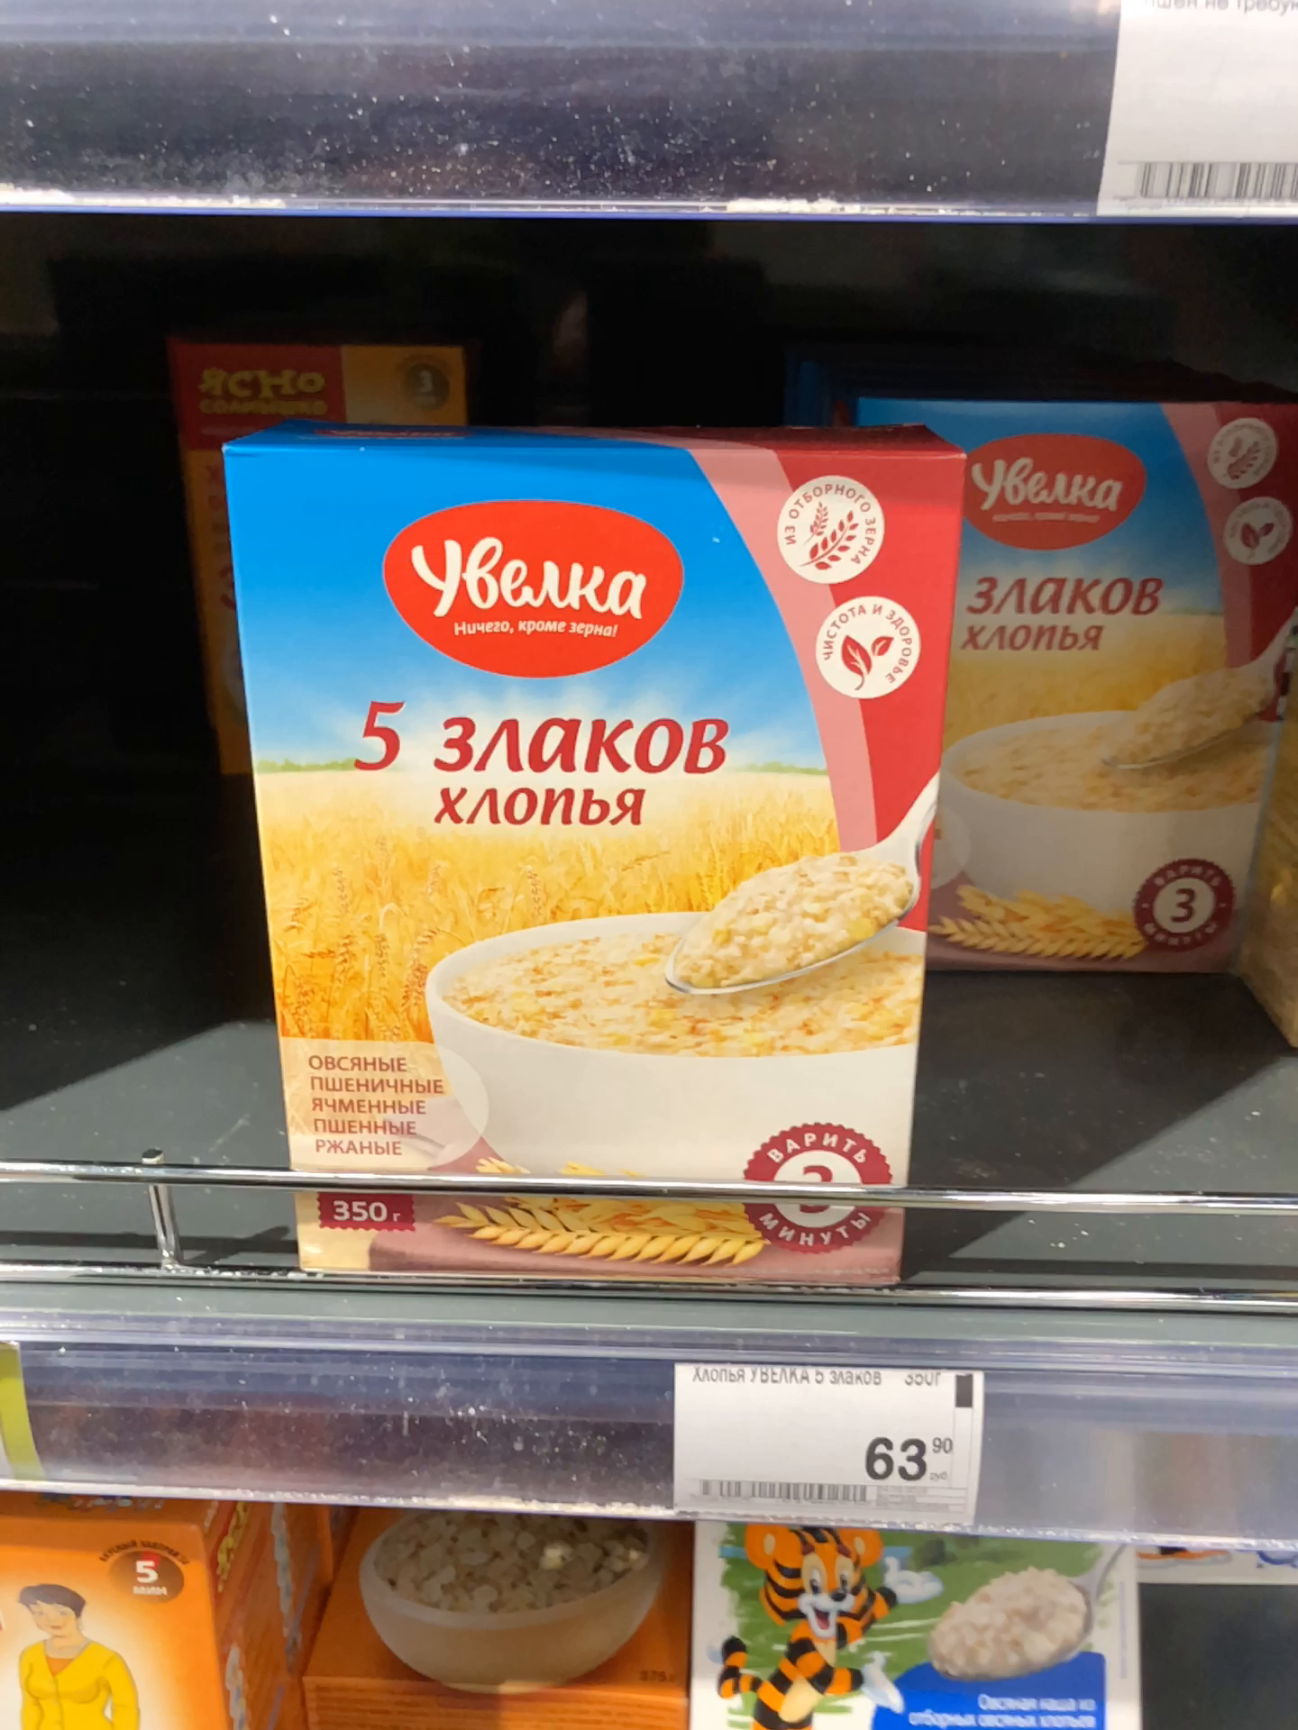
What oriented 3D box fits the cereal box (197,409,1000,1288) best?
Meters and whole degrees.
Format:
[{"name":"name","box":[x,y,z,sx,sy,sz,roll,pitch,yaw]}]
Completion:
[{"name":"cereal box","box":[-0.011,-0.001,0.325,0.150,0.189,0.050,1,20,1]}]
